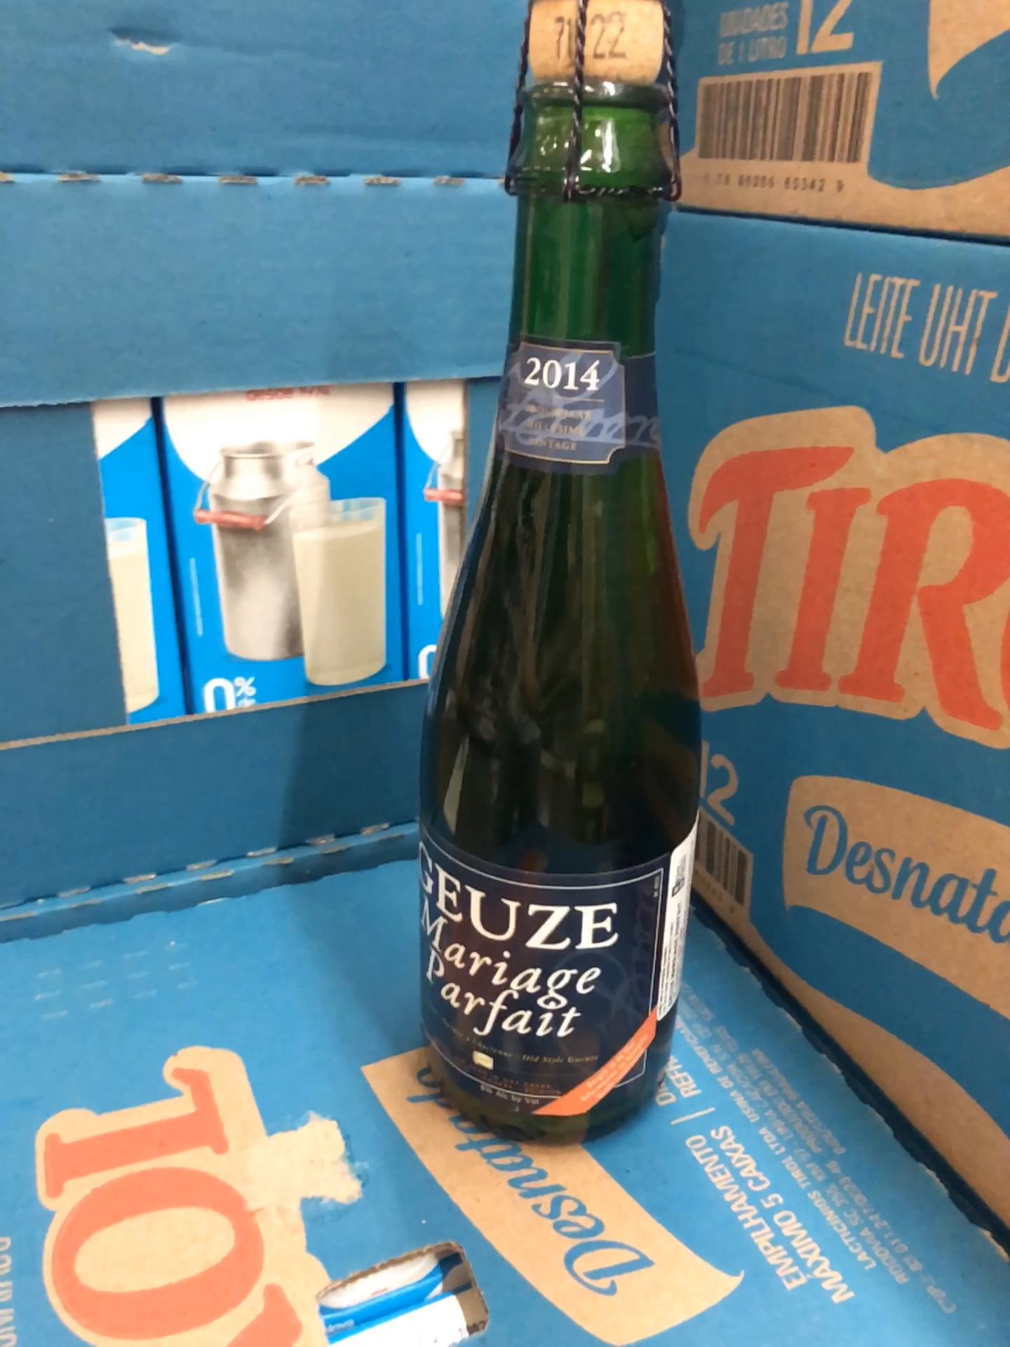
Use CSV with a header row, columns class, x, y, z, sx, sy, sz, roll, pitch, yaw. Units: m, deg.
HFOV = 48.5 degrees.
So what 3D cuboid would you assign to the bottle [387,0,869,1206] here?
class,x,y,z,sx,sy,sz,roll,pitch,yaw
bottle,0.019,-0.007,0.256,0.070,0.258,0.060,14,27,23
